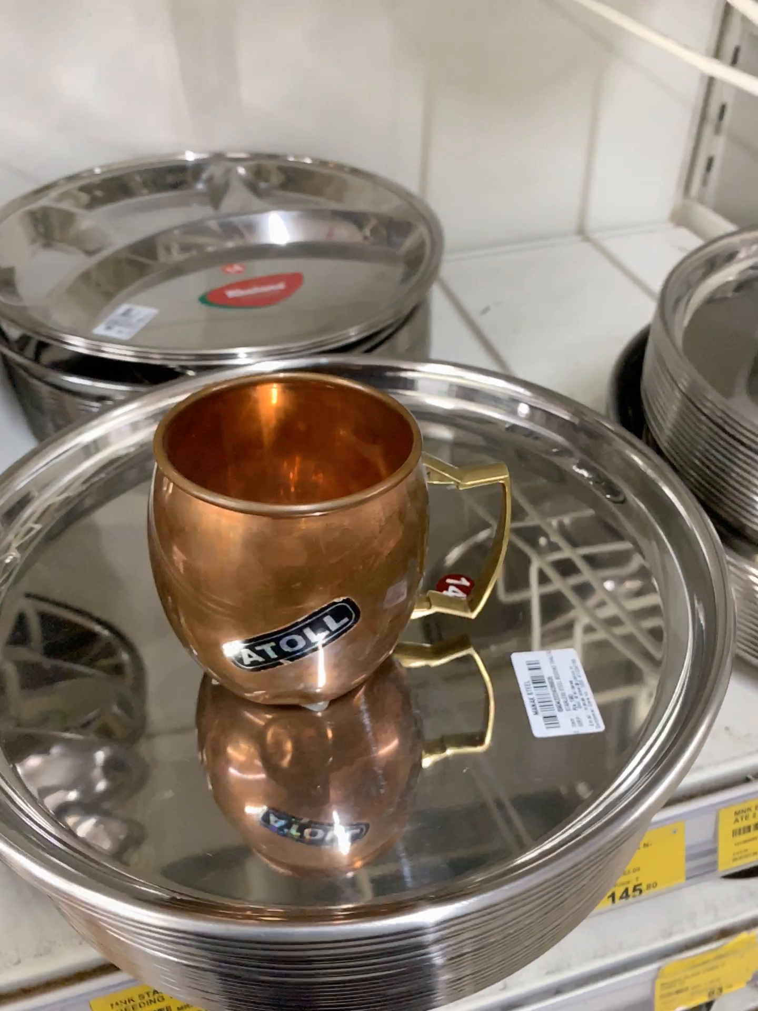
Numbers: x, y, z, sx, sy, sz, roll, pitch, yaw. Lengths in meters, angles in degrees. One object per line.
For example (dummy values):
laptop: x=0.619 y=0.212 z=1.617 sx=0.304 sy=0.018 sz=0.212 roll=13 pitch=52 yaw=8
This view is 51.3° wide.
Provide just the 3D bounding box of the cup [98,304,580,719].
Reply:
cup: x=-0.015 y=-0.001 z=0.258 sx=0.120 sy=0.090 sz=0.090 roll=-4 pitch=42 yaw=-7
